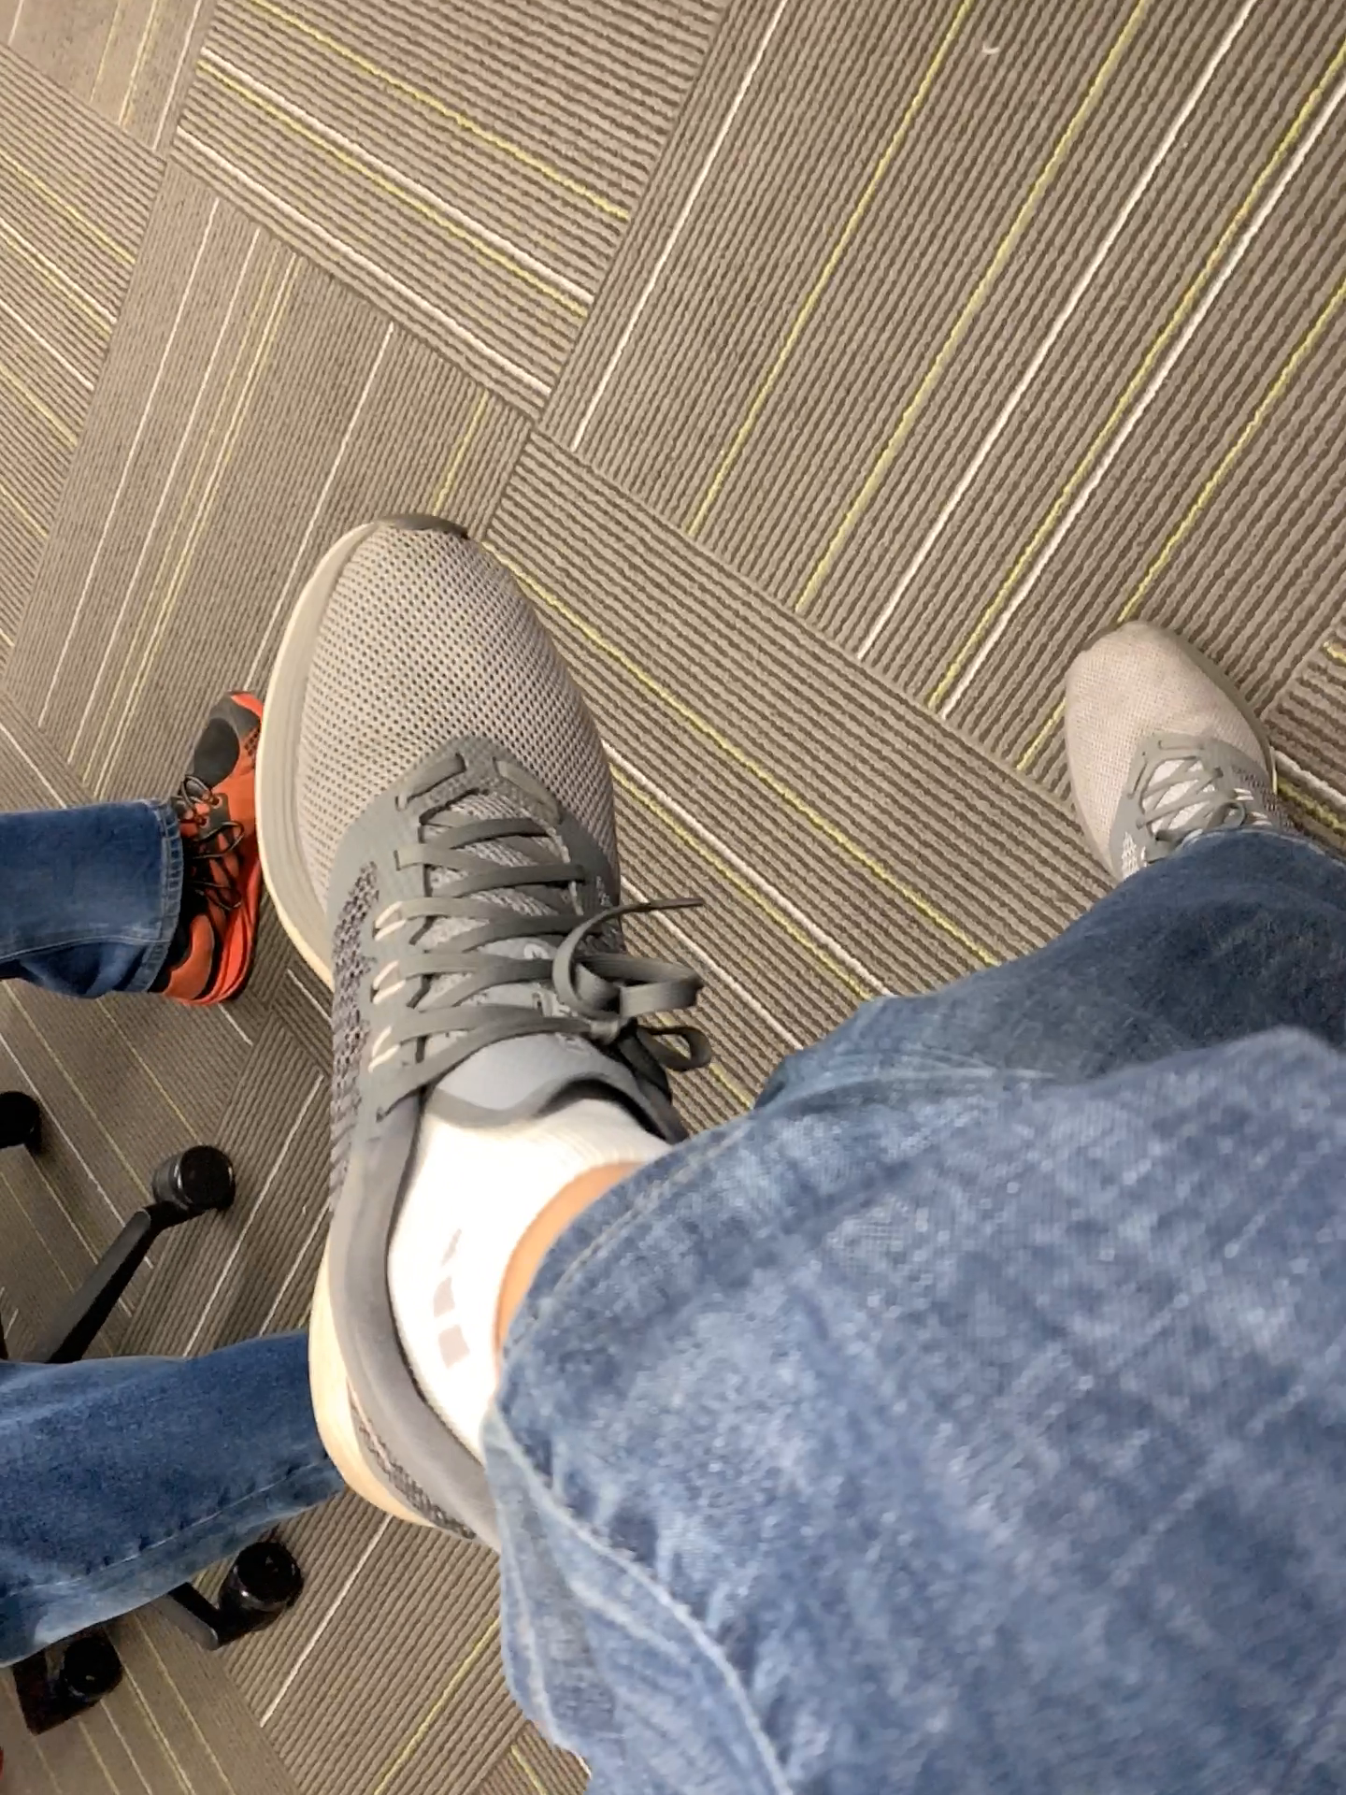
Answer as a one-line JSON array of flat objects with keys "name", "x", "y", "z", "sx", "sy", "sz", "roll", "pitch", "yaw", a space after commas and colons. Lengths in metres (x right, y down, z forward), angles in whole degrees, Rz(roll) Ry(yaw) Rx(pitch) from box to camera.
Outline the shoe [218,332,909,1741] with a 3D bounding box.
[{"name": "shoe", "x": -0.047, "y": 0.026, "z": 0.371, "sx": 0.143, "sy": 0.115, "sz": 0.294, "roll": 150, "pitch": 112, "yaw": -69}]

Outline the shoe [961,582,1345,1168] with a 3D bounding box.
[{"name": "shoe", "x": 0.295, "y": -0.016, "z": 0.756, "sx": 0.117, "sy": 0.074, "sz": 0.293, "roll": -40, "pitch": 70, "yaw": 32}]

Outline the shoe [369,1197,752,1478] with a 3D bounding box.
[{"name": "shoe", "x": -0.095, "y": 0.351, "z": 1.102, "sx": 0.278, "sy": 0.116, "sz": 0.112, "roll": -35, "pitch": 64, "yaw": 26}]

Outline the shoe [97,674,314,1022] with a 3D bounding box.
[{"name": "shoe", "x": -0.438, "y": -0.046, "z": 1.286, "sx": 0.113, "sy": 0.107, "sz": 0.294, "roll": 23, "pitch": 100, "yaw": 54}]
